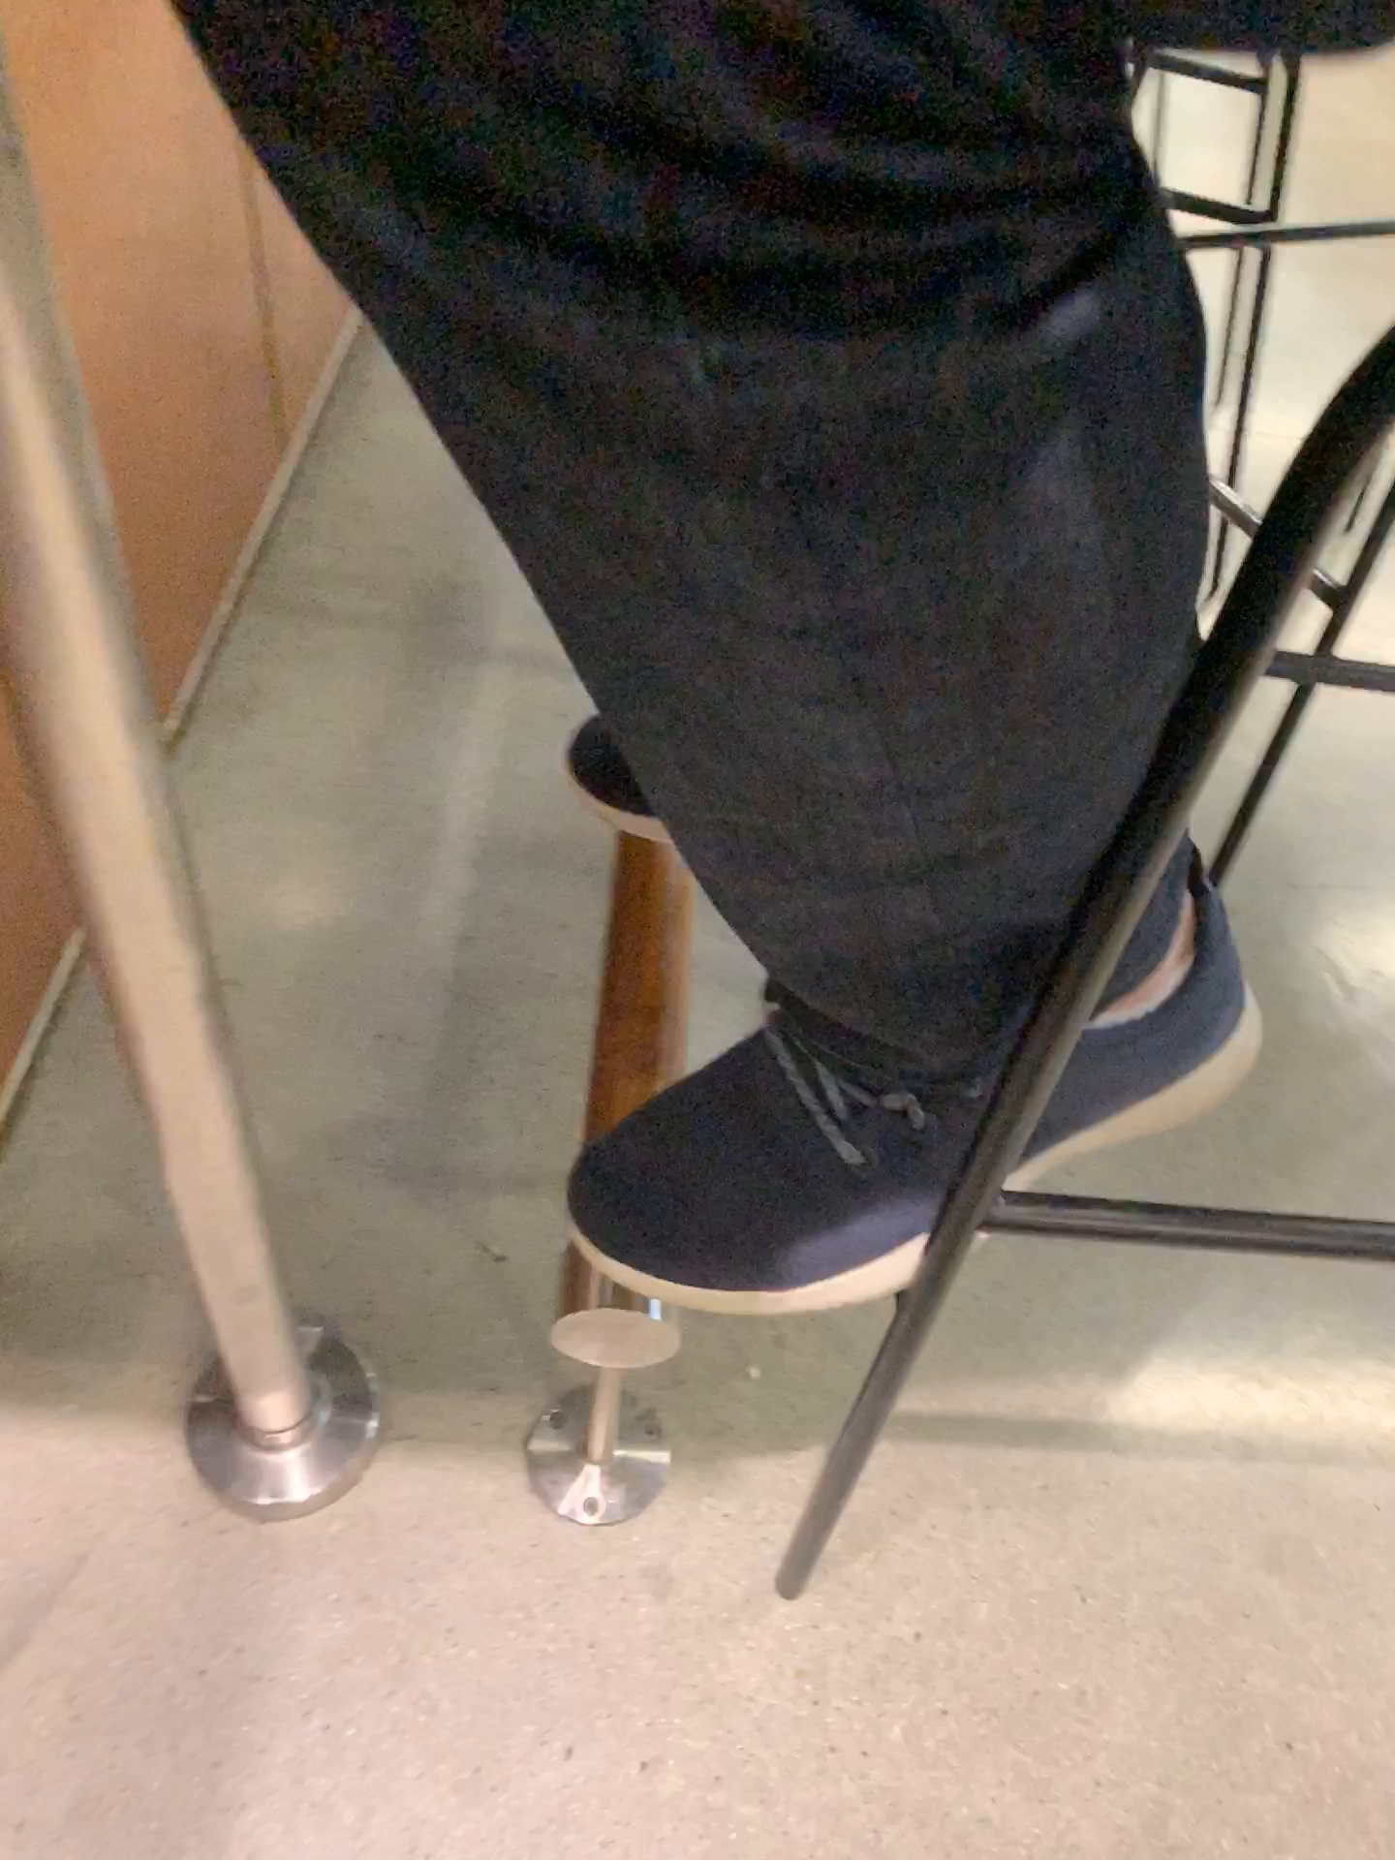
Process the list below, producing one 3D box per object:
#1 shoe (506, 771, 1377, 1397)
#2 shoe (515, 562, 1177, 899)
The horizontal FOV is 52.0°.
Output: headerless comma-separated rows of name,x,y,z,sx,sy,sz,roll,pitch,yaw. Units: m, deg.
shoe,0.091,0.056,0.573,0.299,0.093,0.125,-20,48,-7
shoe,0.078,-0.108,0.726,0.300,0.093,0.129,7,42,16
